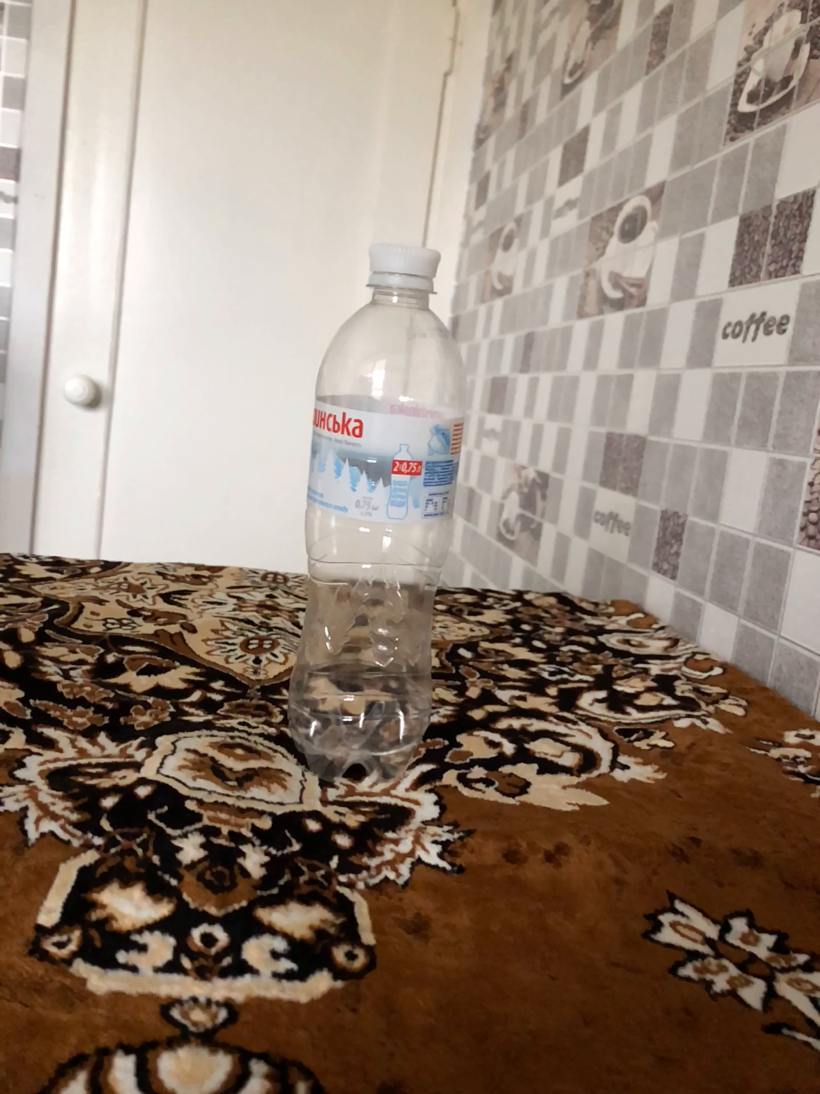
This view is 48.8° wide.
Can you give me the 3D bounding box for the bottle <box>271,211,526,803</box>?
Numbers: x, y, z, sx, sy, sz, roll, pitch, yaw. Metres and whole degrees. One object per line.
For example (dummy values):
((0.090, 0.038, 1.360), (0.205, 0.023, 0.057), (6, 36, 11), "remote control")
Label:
((-0.014, -0.017, 0.427), (0.080, 0.249, 0.090), (4, 11, -12), "bottle")
